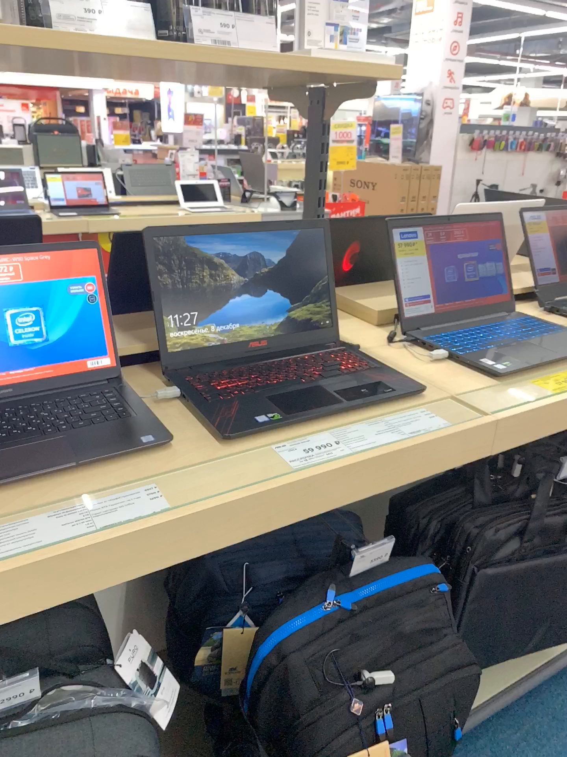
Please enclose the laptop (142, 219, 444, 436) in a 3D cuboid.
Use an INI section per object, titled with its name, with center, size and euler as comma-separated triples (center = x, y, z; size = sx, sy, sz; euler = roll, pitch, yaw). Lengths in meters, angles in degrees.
[laptop]
center = 0.001, -0.116, 0.961
size = 0.366, 0.230, 0.318
euler = -11, 26, -28
